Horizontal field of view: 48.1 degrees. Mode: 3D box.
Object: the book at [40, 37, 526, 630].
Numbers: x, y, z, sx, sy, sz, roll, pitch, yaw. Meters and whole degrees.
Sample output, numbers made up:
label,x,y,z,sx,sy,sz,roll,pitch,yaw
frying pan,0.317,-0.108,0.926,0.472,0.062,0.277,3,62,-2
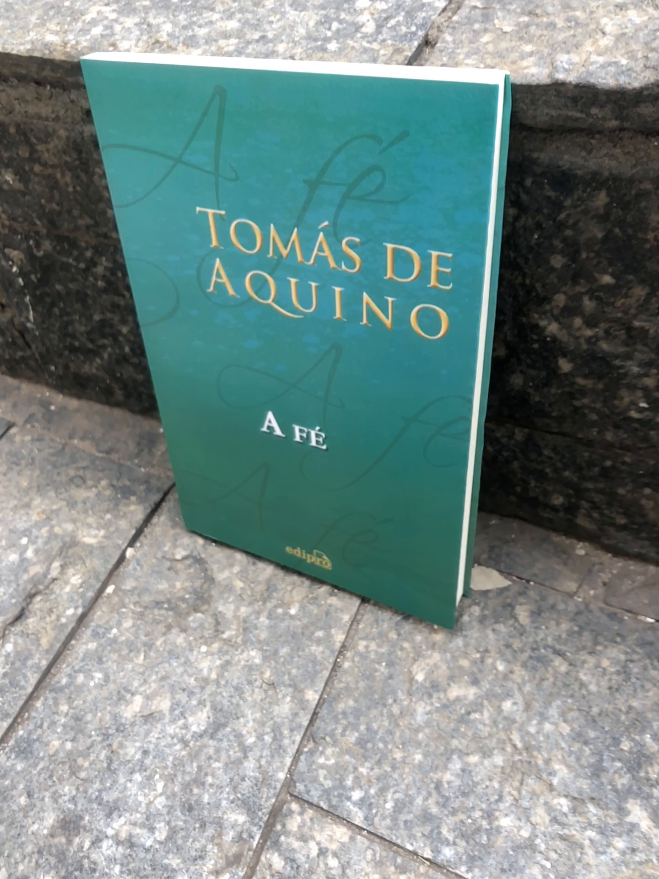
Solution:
label,x,y,z,sx,sy,sz,roll,pitch,yaw
book,-0.016,-0.027,0.264,0.142,0.199,0.020,16,42,22
